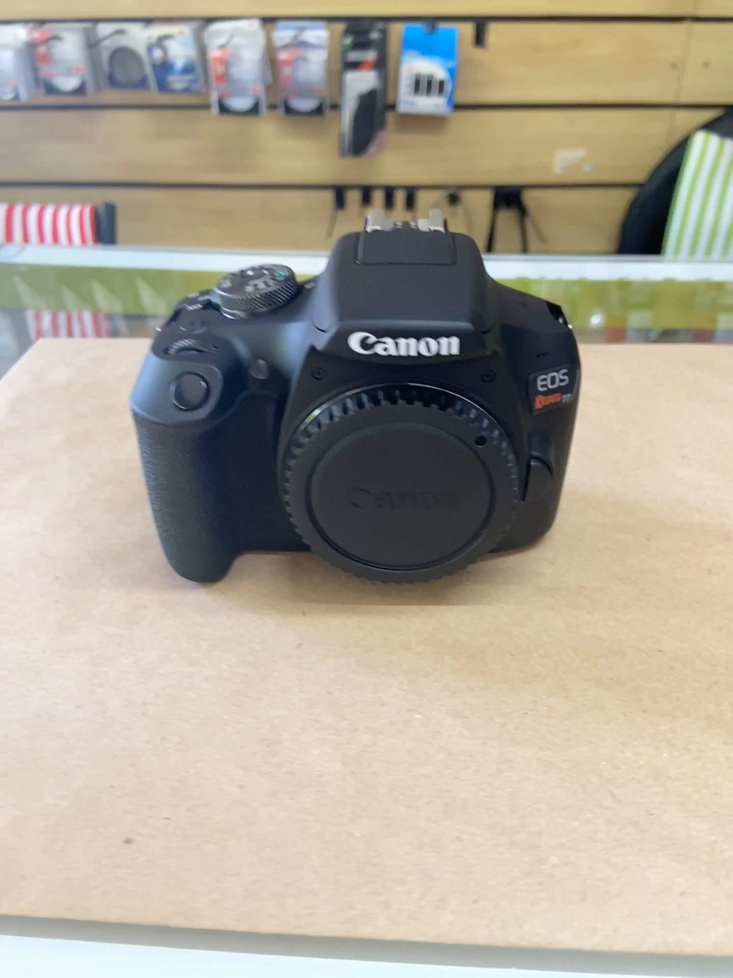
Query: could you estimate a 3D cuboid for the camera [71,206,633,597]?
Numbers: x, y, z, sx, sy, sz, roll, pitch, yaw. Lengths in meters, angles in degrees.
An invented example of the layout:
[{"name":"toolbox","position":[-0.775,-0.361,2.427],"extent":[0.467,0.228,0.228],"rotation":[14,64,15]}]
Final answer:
[{"name":"camera","position":[-0.002,-0.028,0.233],"extent":[0.130,0.093,0.072],"rotation":[1,36,4]}]
